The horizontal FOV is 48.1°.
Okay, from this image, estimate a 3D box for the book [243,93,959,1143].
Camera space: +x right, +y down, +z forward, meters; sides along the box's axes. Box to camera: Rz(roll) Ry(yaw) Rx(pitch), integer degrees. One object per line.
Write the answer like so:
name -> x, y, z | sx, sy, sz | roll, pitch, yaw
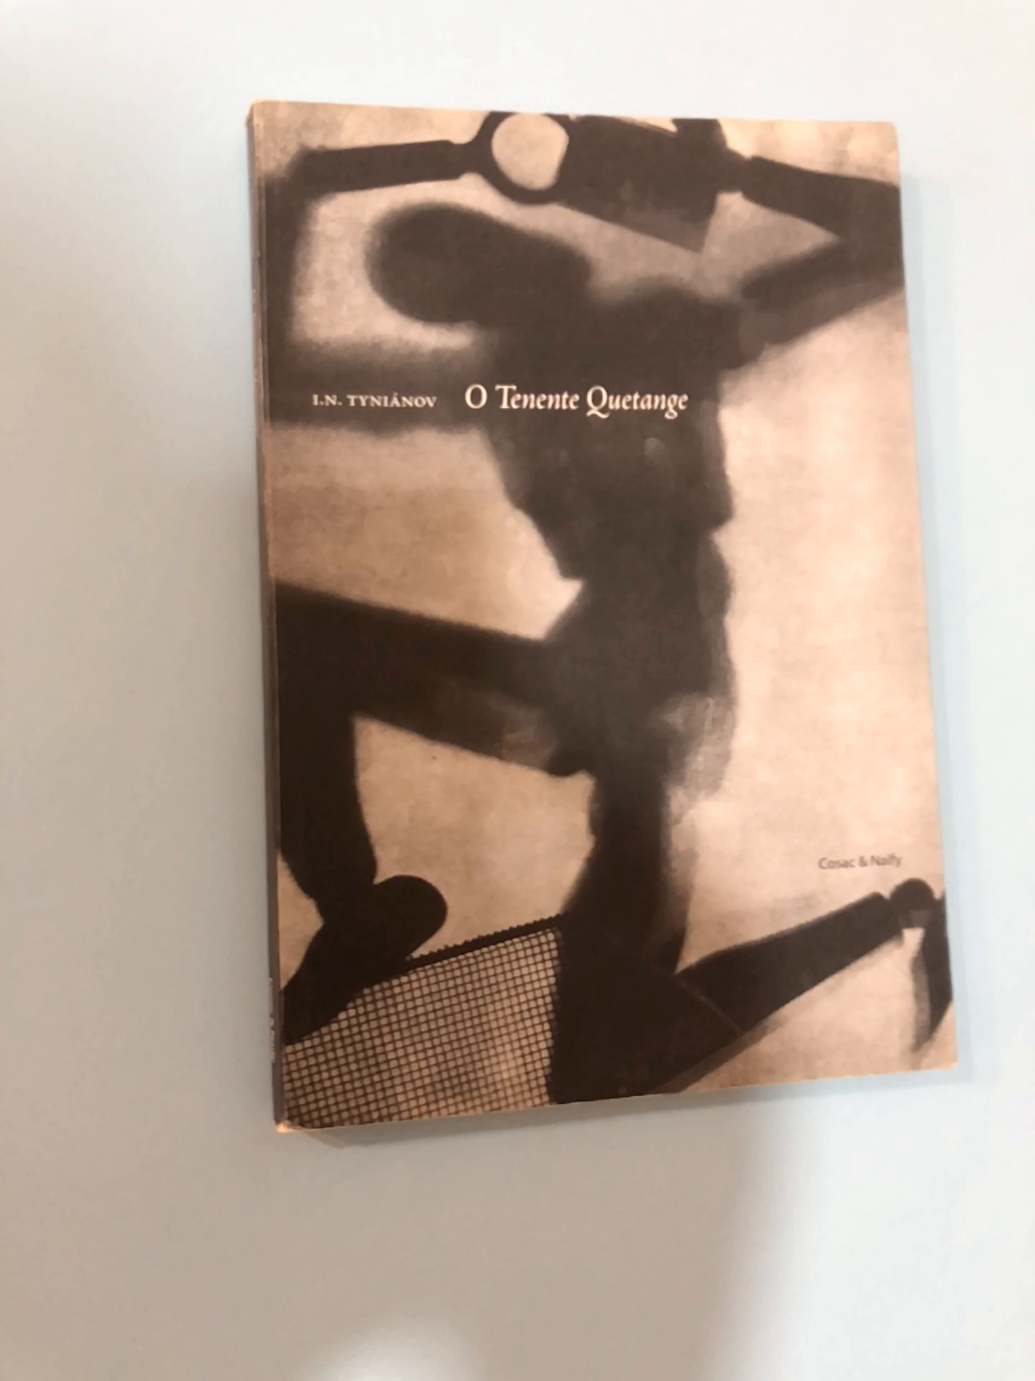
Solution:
book -> 0.017, -0.018, 0.234 | 0.134, 0.016, 0.196 | -2, 87, -9
